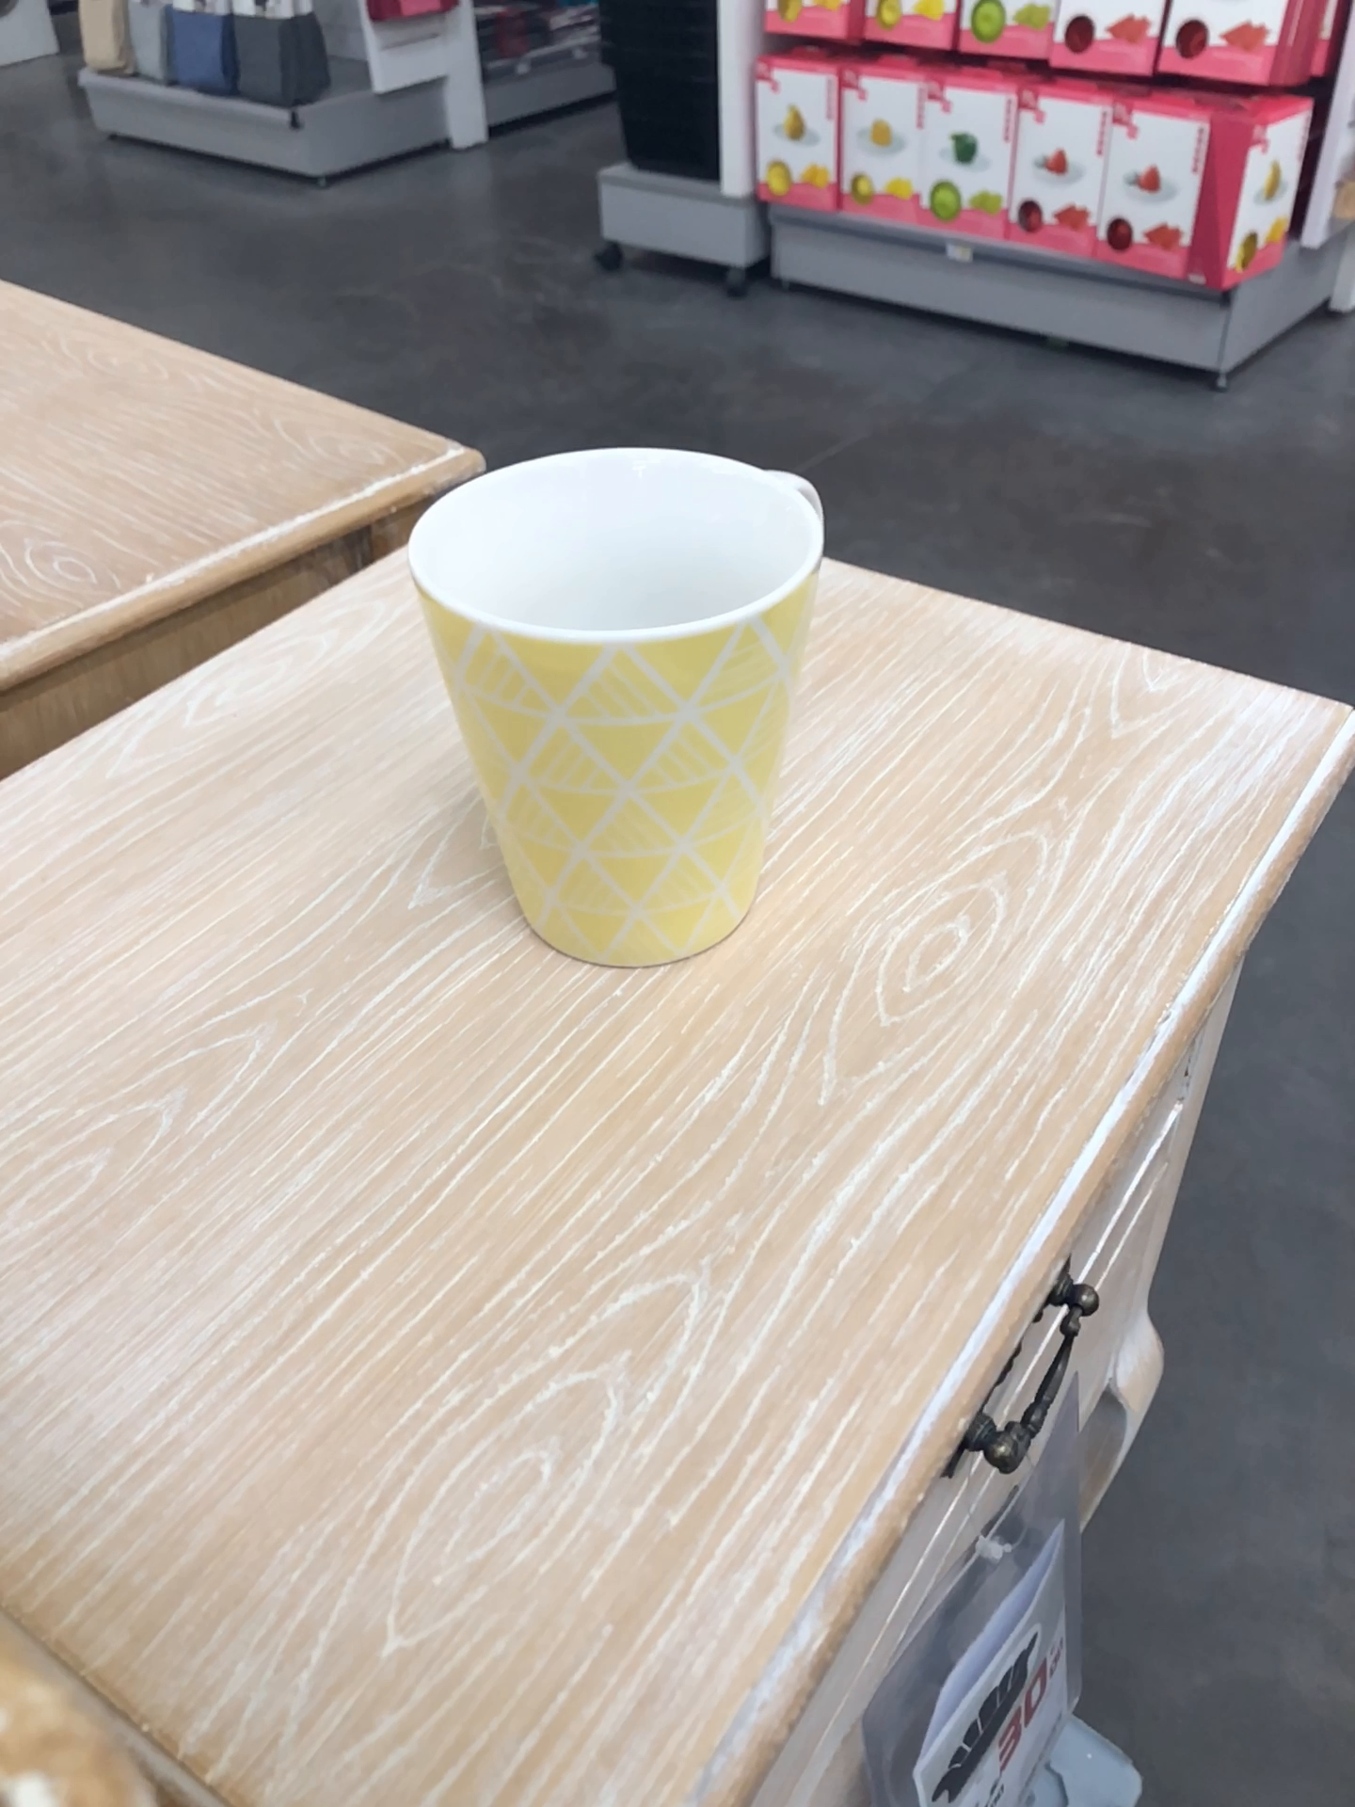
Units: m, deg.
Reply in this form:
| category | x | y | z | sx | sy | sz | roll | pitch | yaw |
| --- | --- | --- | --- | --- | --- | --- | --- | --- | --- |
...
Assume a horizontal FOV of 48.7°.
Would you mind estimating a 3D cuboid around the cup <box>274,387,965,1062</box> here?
| category | x | y | z | sx | sy | sz | roll | pitch | yaw |
| --- | --- | --- | --- | --- | --- | --- | --- | --- | --- |
| cup | -0.006 | -0.051 | 0.359 | 0.102 | 0.090 | 0.126 | 19 | 43 | 24 |
